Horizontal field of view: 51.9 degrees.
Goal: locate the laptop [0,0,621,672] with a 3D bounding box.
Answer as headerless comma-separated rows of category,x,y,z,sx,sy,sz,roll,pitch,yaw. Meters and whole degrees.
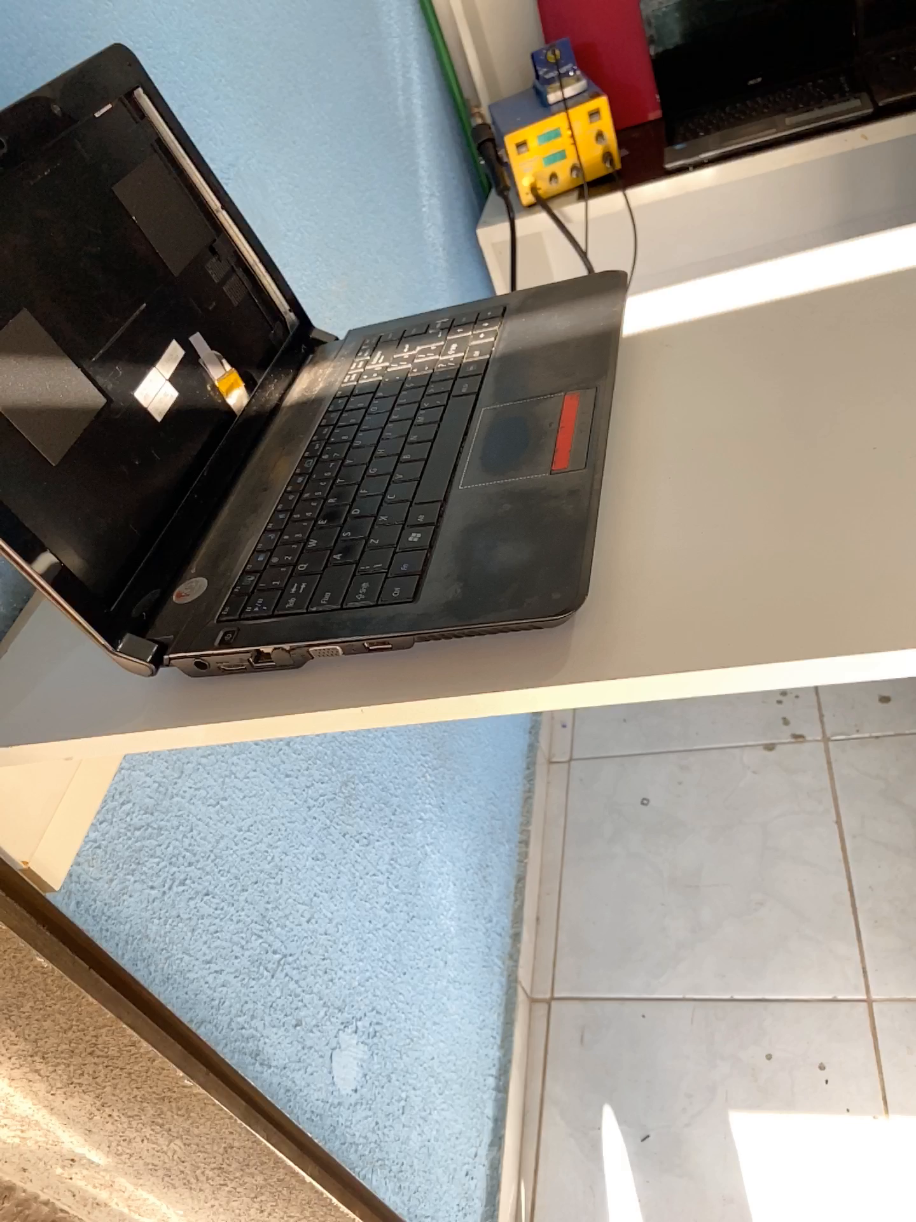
laptop,-0.086,-0.176,0.502,0.276,0.216,0.336,-7,40,20
